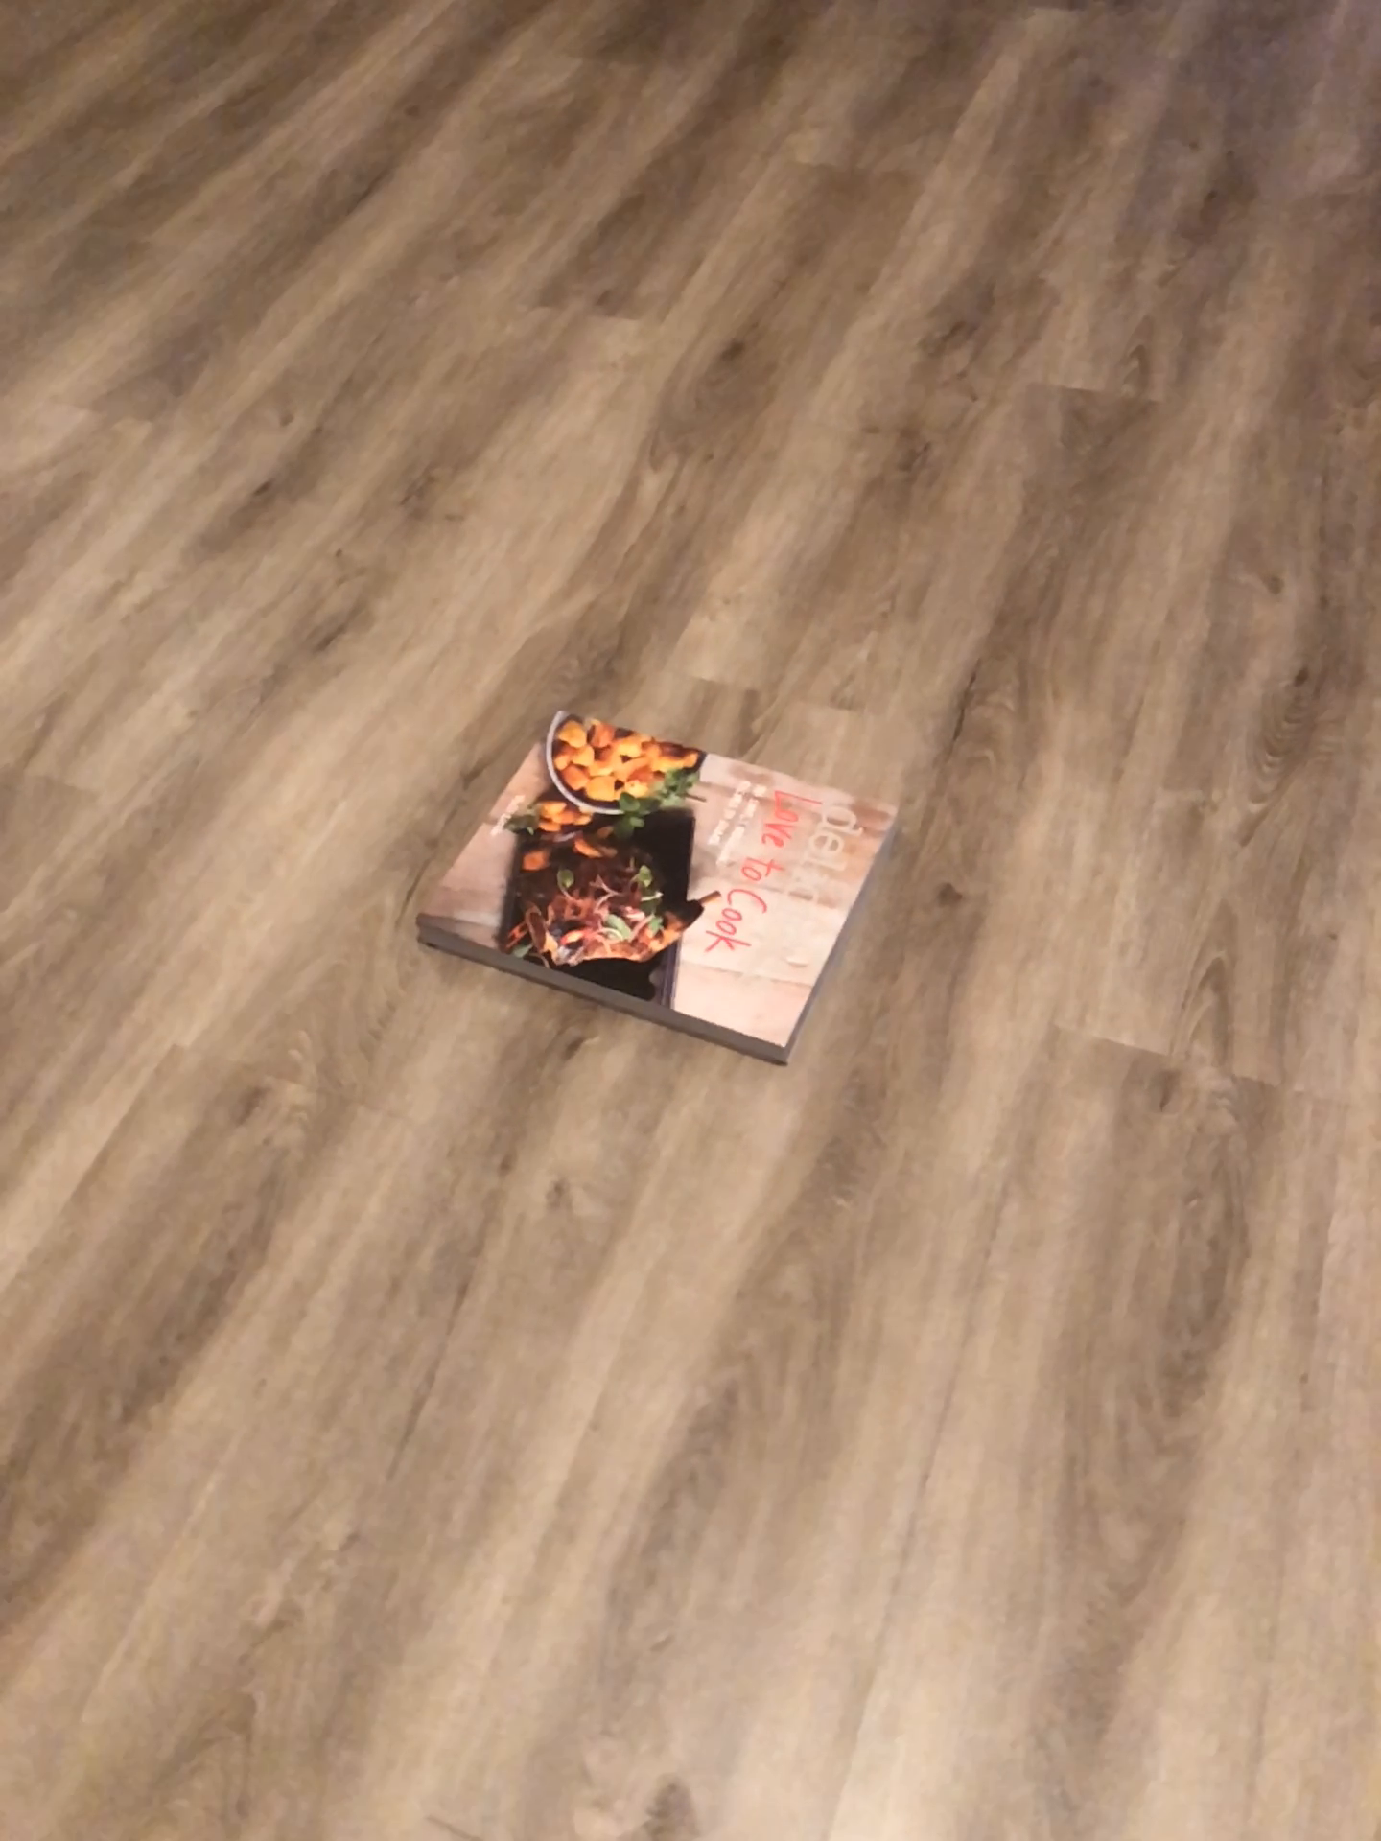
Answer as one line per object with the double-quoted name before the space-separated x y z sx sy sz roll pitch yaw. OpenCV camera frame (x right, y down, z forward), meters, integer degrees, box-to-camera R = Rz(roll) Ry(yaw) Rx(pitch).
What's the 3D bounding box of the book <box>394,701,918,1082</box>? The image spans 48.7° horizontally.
"book" -0.019 -0.031 1.041 0.290 0.030 0.222 17 55 17
